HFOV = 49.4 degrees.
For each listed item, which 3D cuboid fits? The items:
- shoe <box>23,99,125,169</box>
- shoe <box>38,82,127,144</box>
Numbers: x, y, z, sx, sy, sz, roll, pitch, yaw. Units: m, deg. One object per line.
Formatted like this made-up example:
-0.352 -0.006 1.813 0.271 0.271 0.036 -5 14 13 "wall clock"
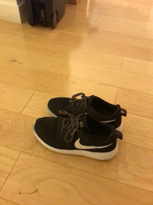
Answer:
-0.004 0.091 0.505 0.270 0.089 0.111 14 48 8 "shoe"
0.022 0.032 0.573 0.270 0.089 0.111 15 49 10 "shoe"
